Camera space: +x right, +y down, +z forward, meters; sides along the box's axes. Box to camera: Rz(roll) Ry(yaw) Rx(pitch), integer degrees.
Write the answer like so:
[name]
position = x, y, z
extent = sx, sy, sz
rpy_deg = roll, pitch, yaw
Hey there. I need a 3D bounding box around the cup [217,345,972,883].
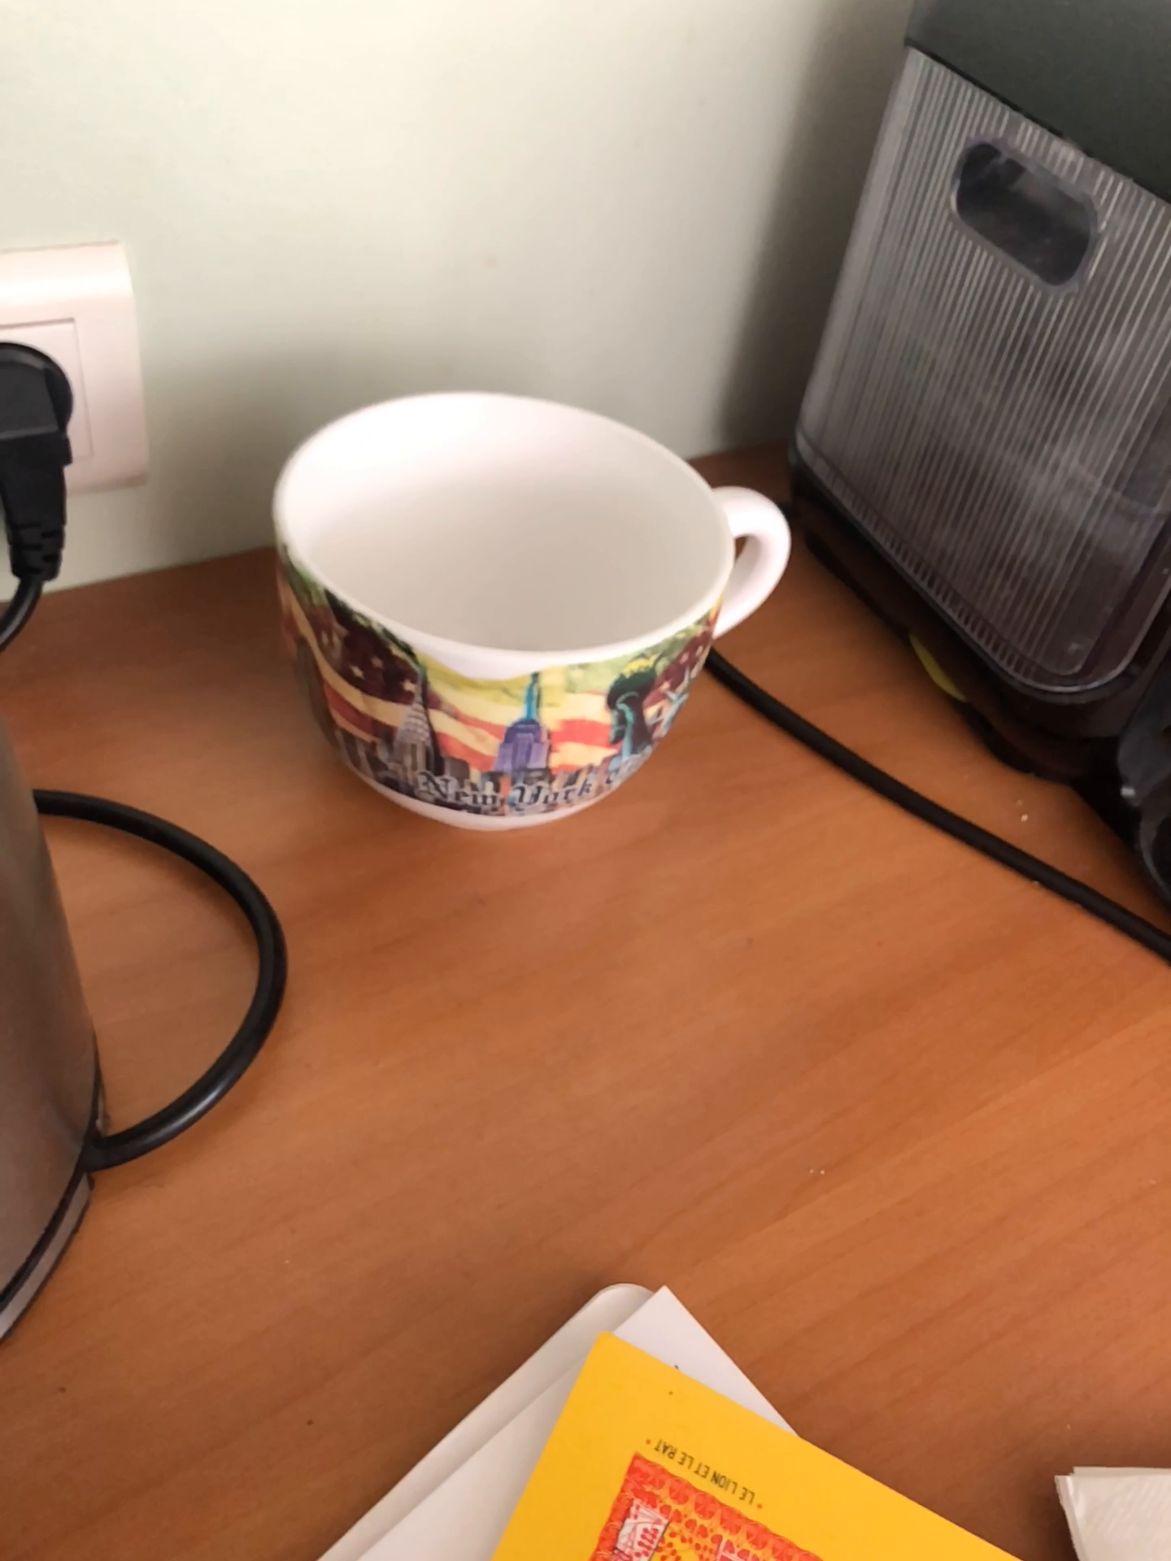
[cup]
position = -0.003, -0.058, 0.375
extent = 0.171, 0.070, 0.120
rpy_deg = -13, 49, -24
